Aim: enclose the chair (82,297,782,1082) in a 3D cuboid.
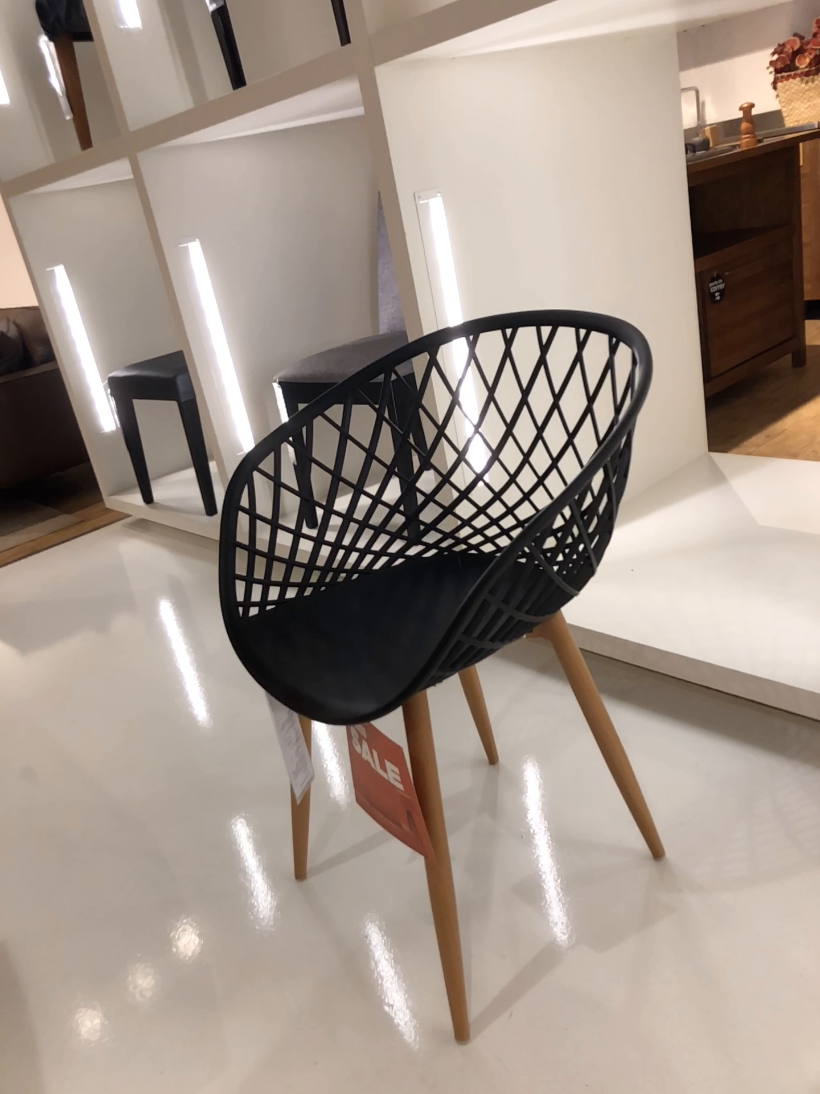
[{"bbox_3d":[0.041,0.086,1.245,0.602,0.705,0.622,-24,24,-30],"label":"chair"}]
